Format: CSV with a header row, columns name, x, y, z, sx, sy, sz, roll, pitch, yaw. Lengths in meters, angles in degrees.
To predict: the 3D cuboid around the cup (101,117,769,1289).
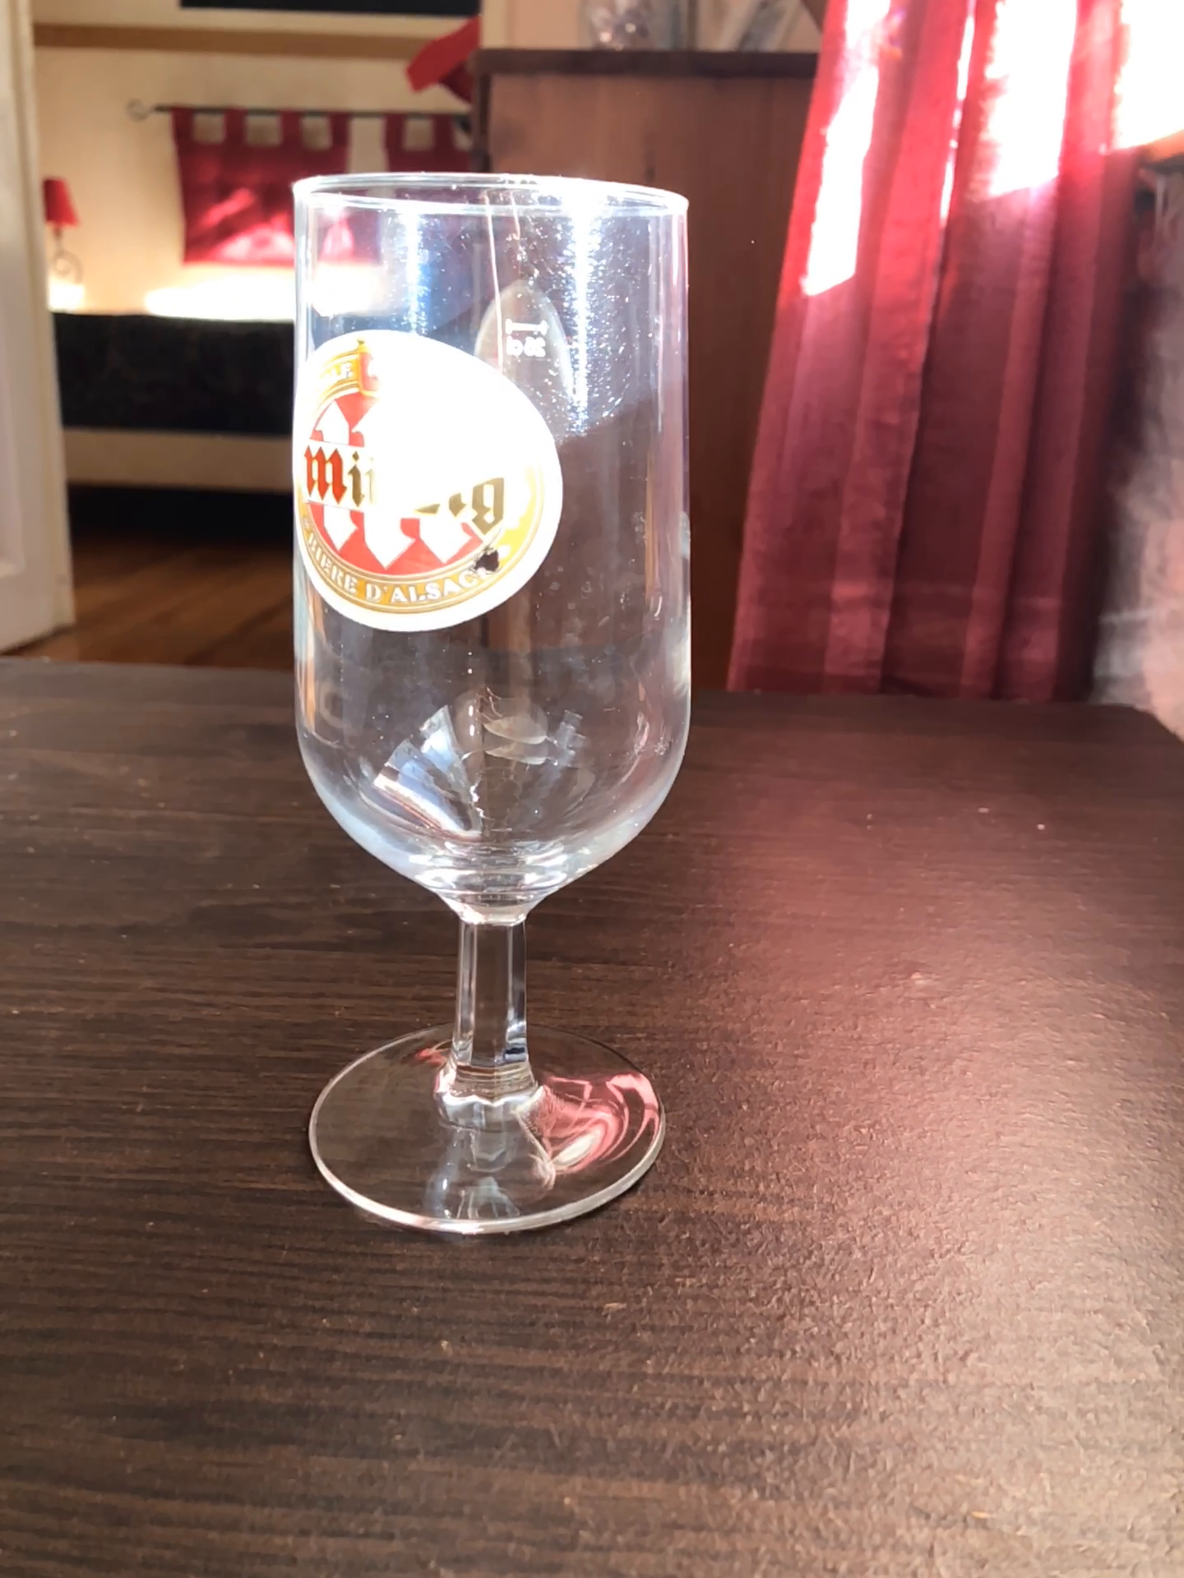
name,x,y,z,sx,sy,sz,roll,pitch,yaw
cup,-0.023,-0.016,0.213,0.067,0.155,0.070,3,18,-1
